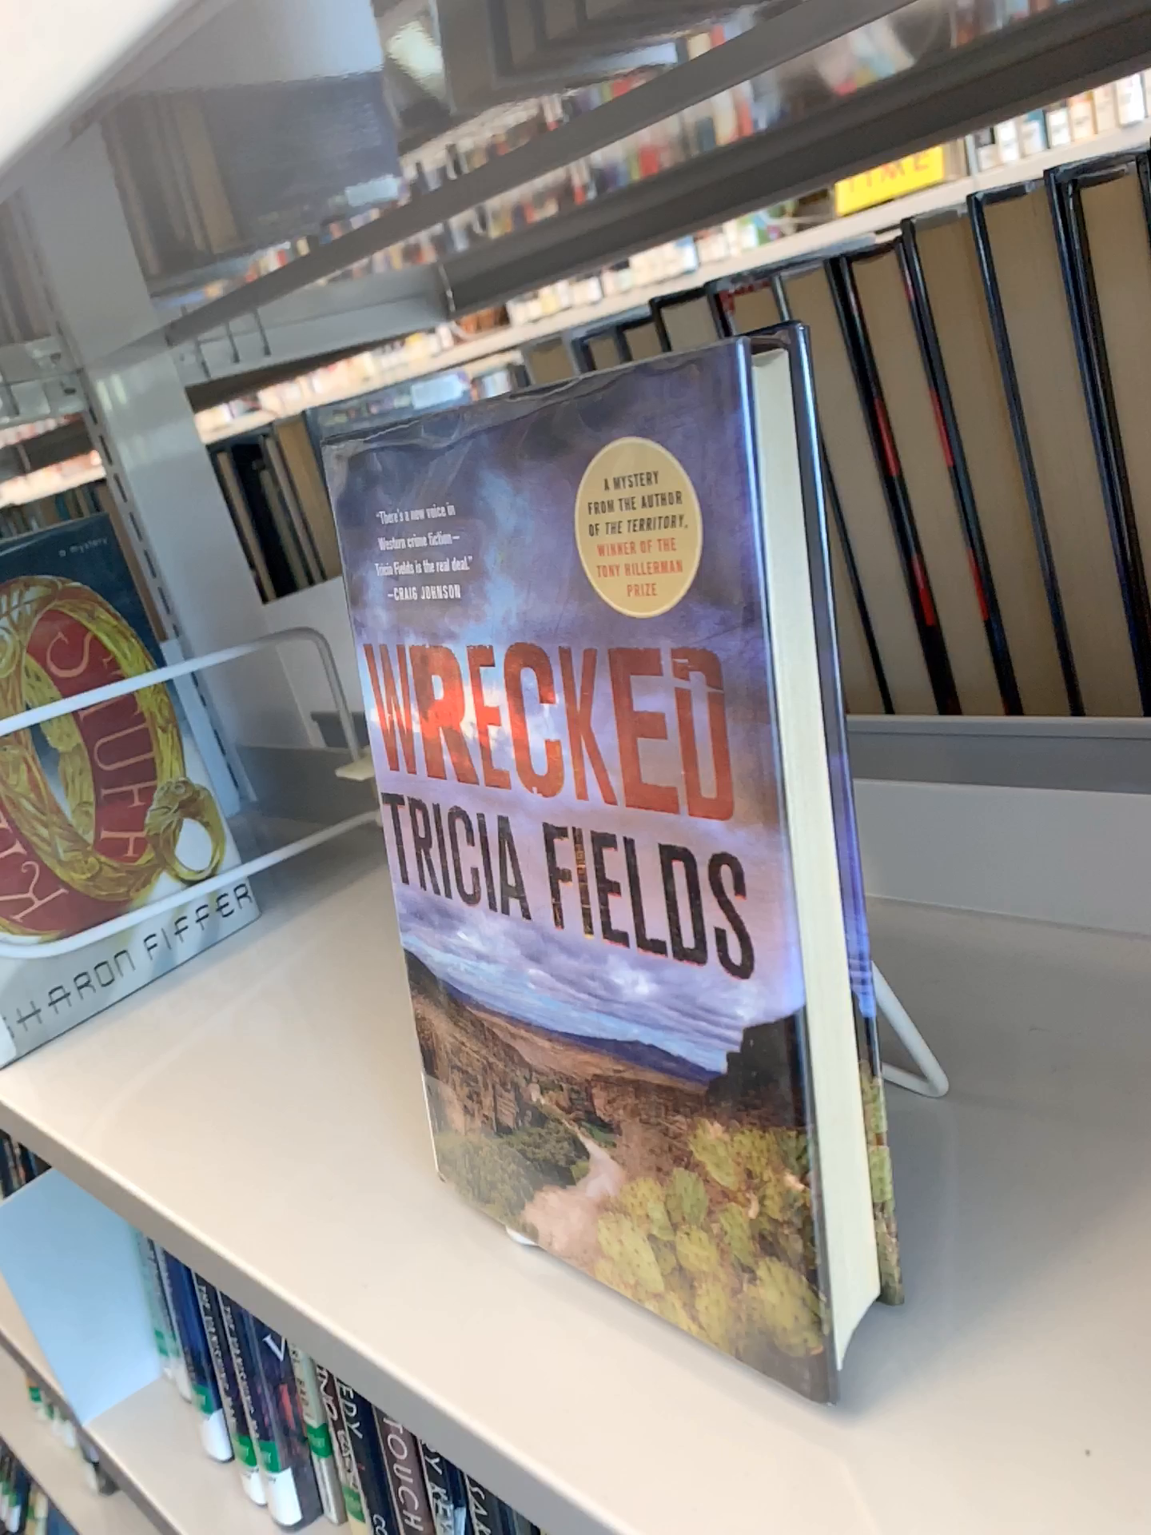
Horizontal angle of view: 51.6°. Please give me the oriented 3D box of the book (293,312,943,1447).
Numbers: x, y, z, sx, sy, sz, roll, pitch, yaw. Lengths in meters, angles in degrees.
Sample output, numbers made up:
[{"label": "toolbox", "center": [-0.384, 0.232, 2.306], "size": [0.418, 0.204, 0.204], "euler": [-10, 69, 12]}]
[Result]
[{"label": "book", "center": [0.003, 0.021, 0.282], "size": [0.034, 0.214, 0.151], "euler": [-17, 14, -38]}]
